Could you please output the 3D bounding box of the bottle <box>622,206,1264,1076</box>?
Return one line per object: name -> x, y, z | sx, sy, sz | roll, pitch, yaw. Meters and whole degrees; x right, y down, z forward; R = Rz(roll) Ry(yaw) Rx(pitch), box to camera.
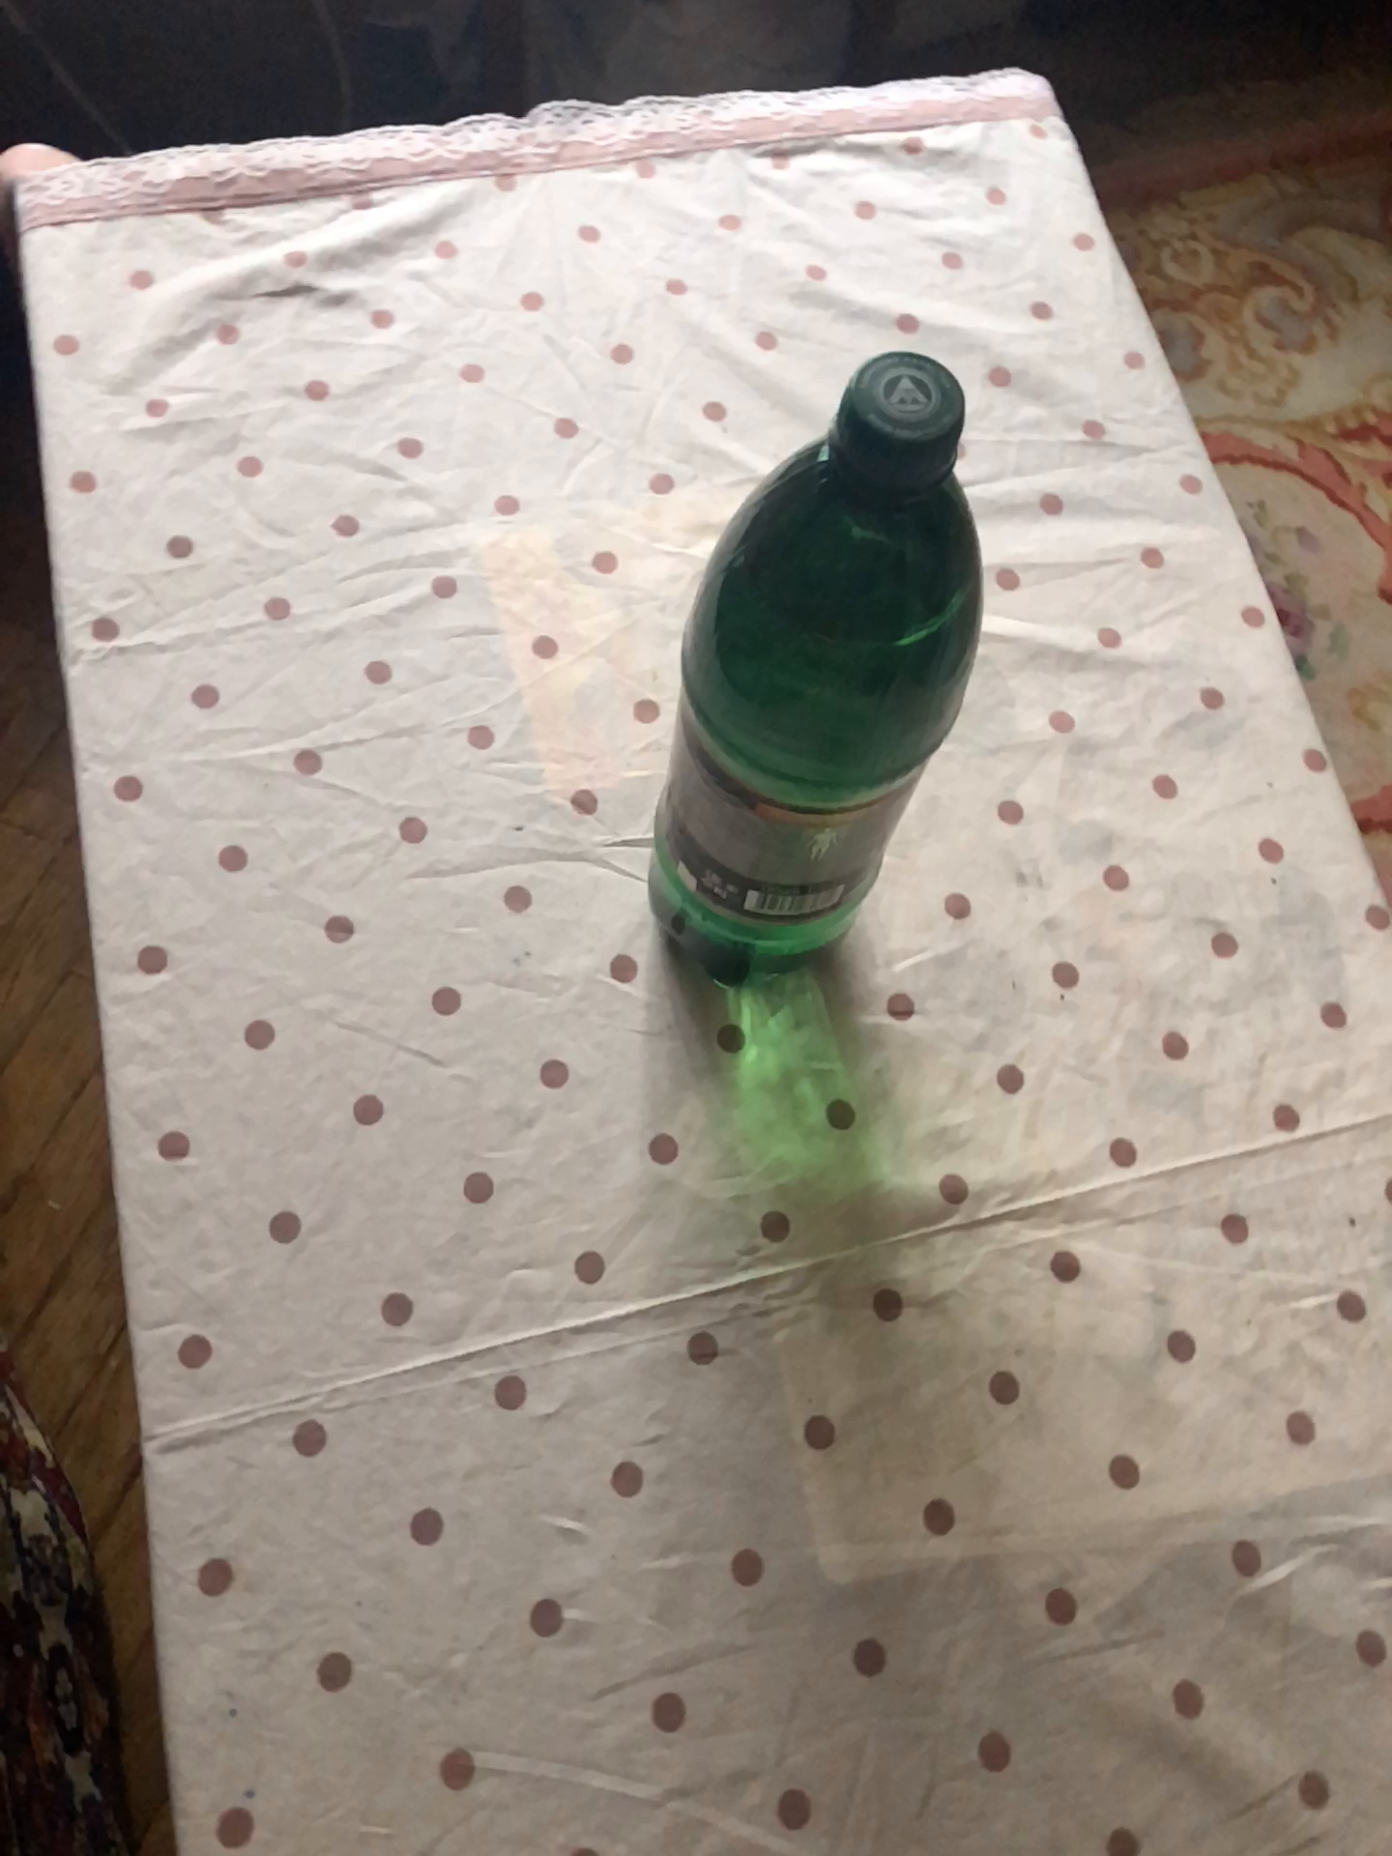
bottle -> 0.051, -0.060, 0.477 | 0.100, 0.279, 0.100 | 1, 69, -4
